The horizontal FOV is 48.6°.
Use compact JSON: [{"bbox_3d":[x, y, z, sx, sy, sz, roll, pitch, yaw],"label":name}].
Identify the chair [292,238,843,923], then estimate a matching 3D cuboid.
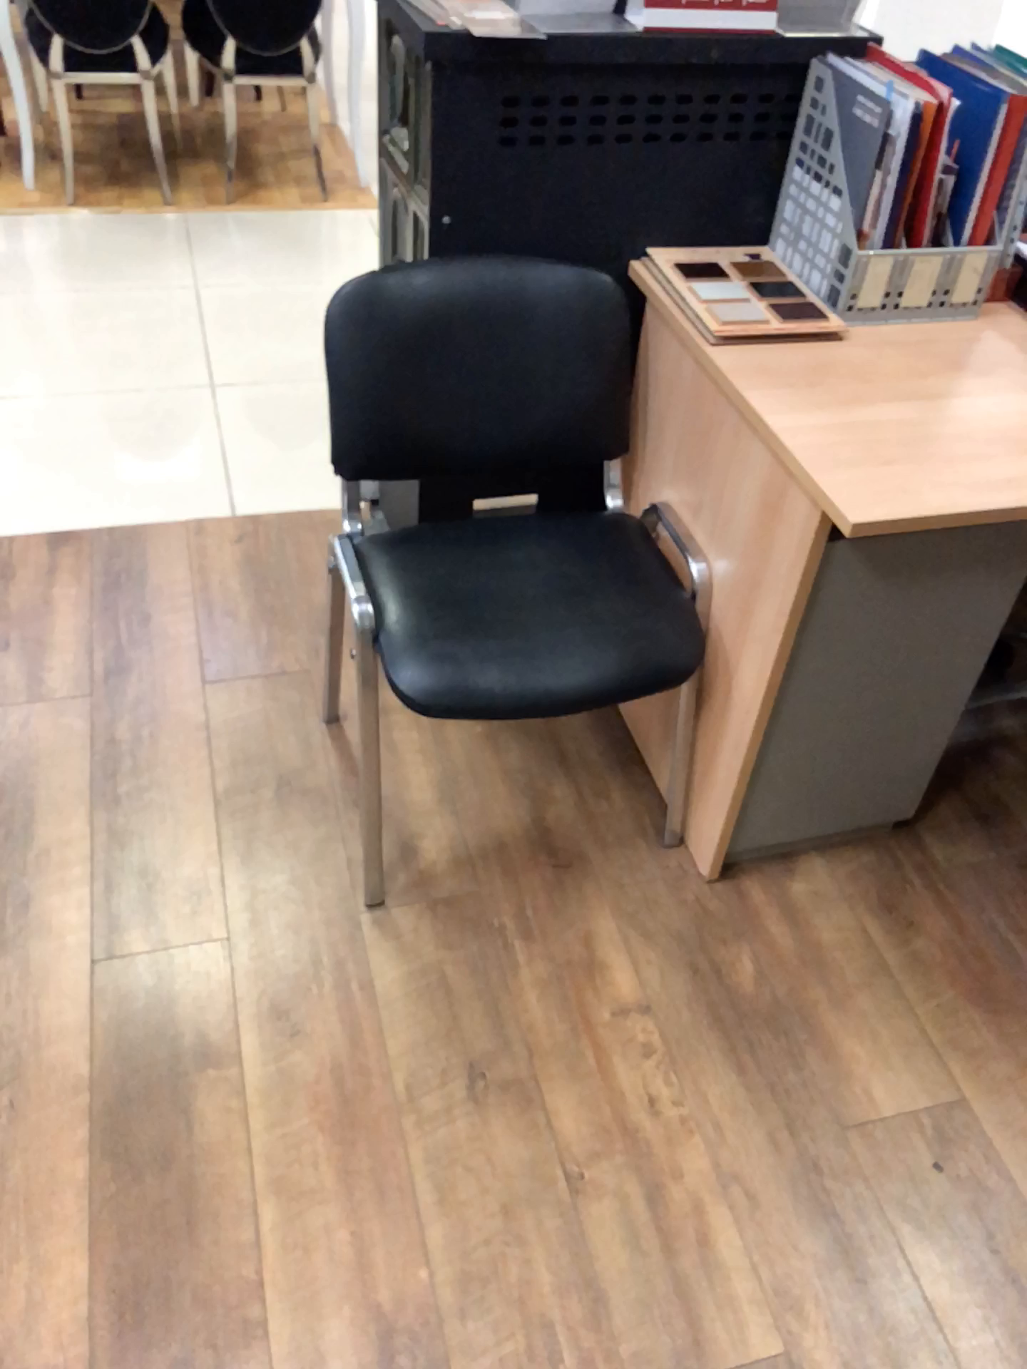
[{"bbox_3d":[0.012,-0.146,1.722,0.580,0.855,0.482,-8,43,-15],"label":"chair"}]
